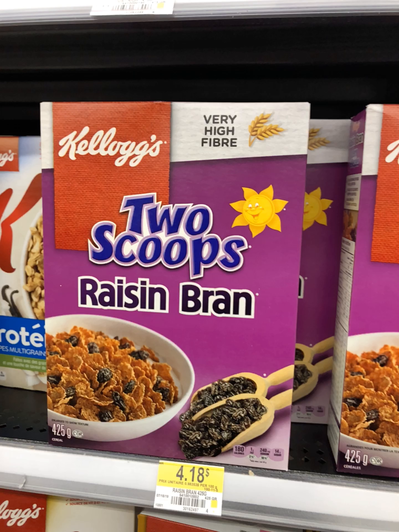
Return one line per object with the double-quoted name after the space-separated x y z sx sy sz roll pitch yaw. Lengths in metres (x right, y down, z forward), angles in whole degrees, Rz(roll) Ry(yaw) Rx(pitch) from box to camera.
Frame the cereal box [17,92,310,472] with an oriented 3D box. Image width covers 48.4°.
-0.028 0.011 0.345 0.200 0.269 0.050 3 10 7 "cereal box"
